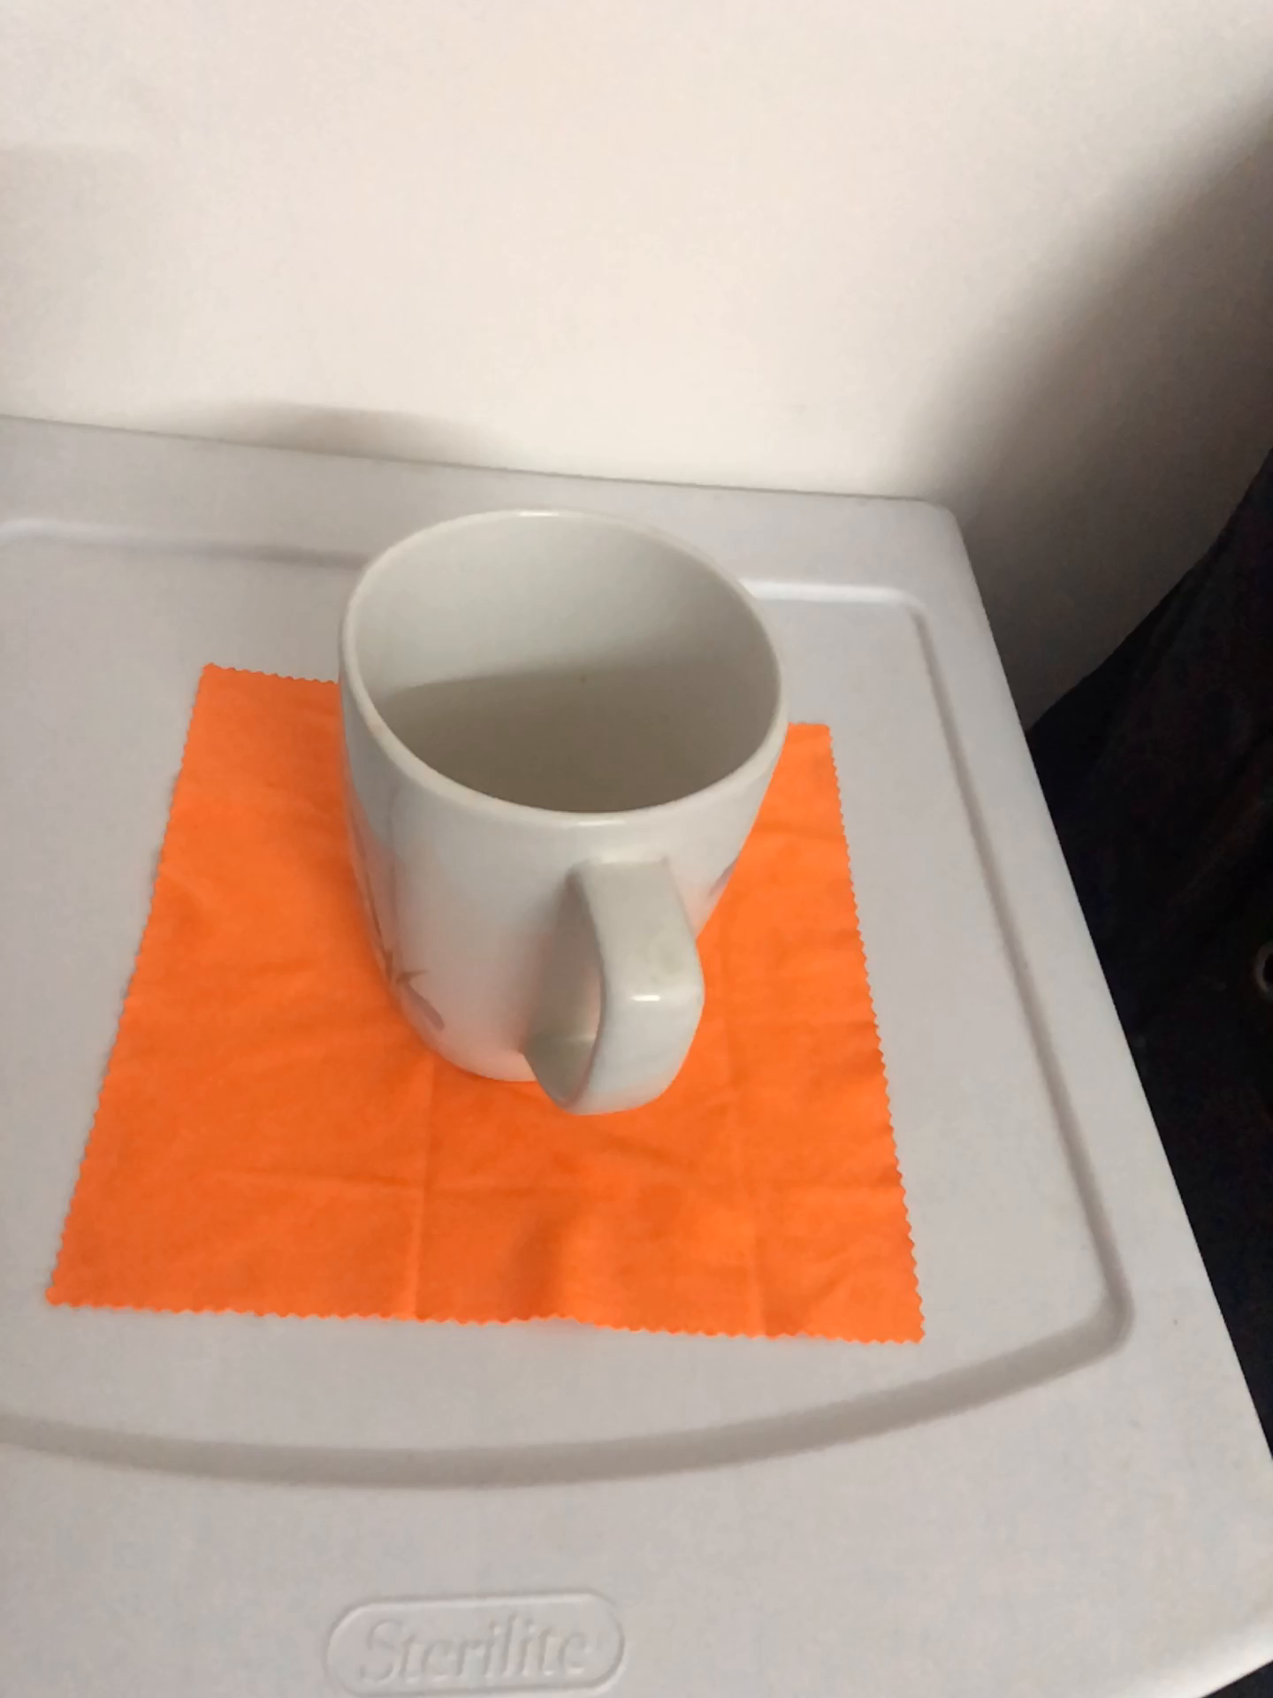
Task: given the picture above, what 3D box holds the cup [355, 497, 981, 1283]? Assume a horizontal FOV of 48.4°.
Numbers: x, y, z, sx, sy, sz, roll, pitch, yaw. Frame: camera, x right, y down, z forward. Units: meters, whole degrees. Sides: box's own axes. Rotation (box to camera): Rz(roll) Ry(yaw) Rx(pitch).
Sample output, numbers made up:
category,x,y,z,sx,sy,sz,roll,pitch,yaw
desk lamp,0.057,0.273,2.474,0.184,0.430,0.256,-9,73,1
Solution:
category,x,y,z,sx,sy,sz,roll,pitch,yaw
cup,-0.007,0.006,0.292,0.090,0.100,0.120,-3,51,-14
